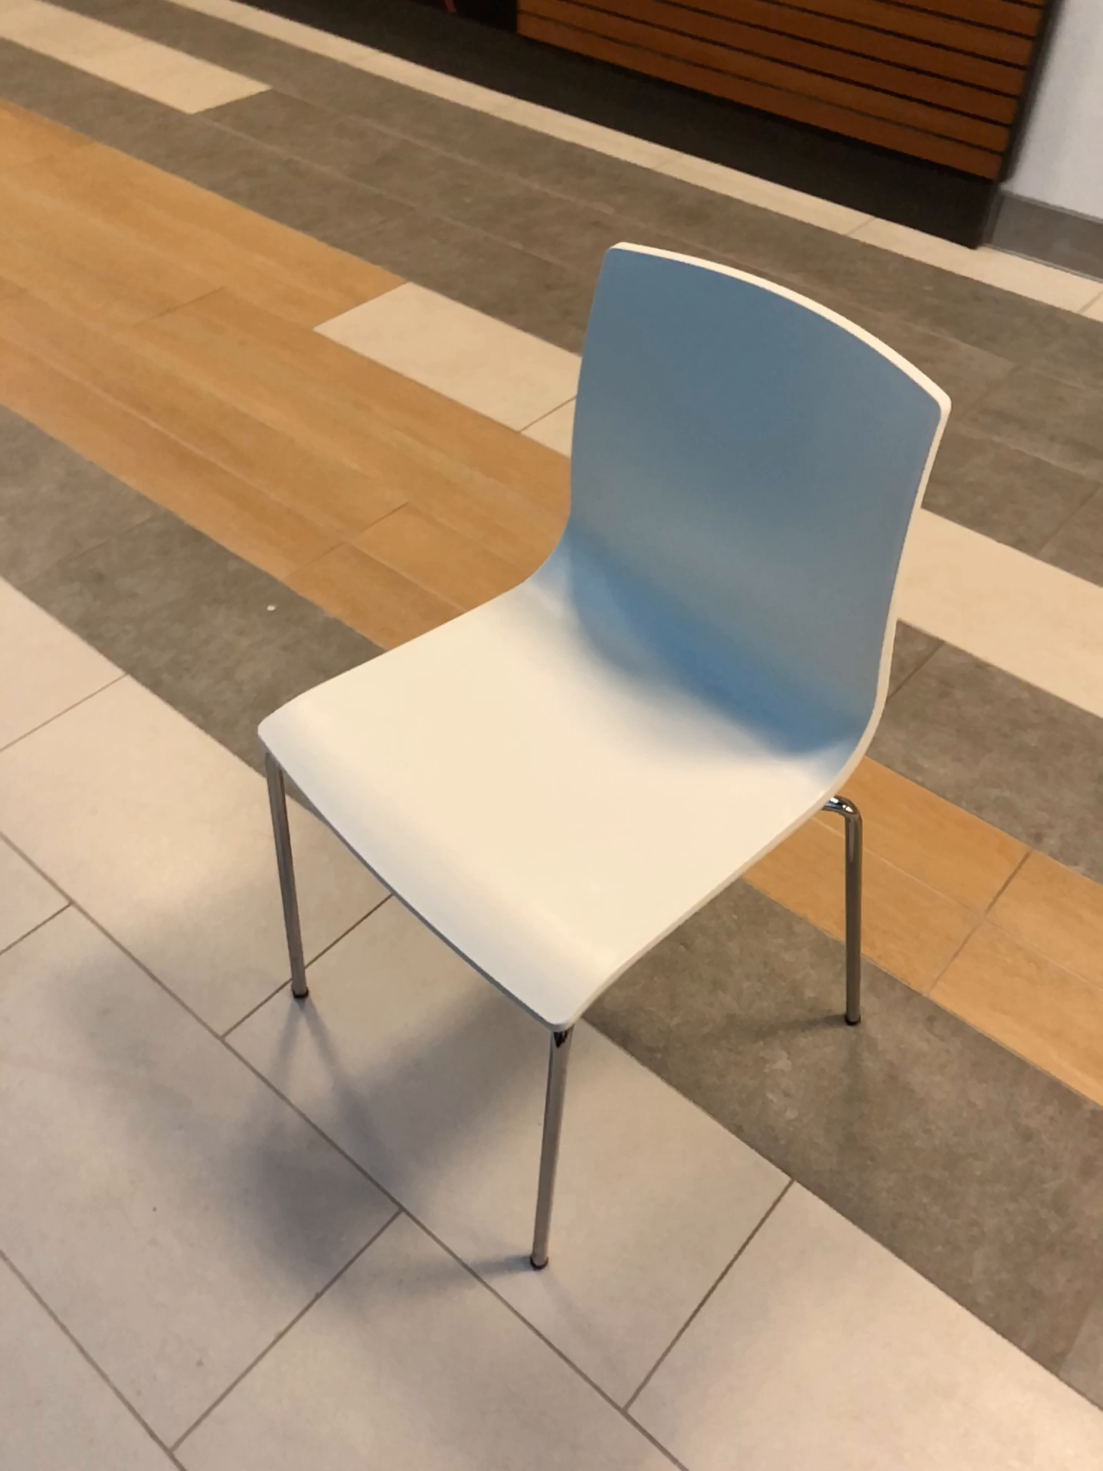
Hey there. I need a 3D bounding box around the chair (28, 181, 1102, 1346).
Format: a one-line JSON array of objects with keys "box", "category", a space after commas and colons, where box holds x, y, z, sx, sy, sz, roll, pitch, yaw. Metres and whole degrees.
[{"box": [0.010, 0.025, 1.158, 0.552, 0.776, 0.582, -35, 56, -30], "category": "chair"}]
